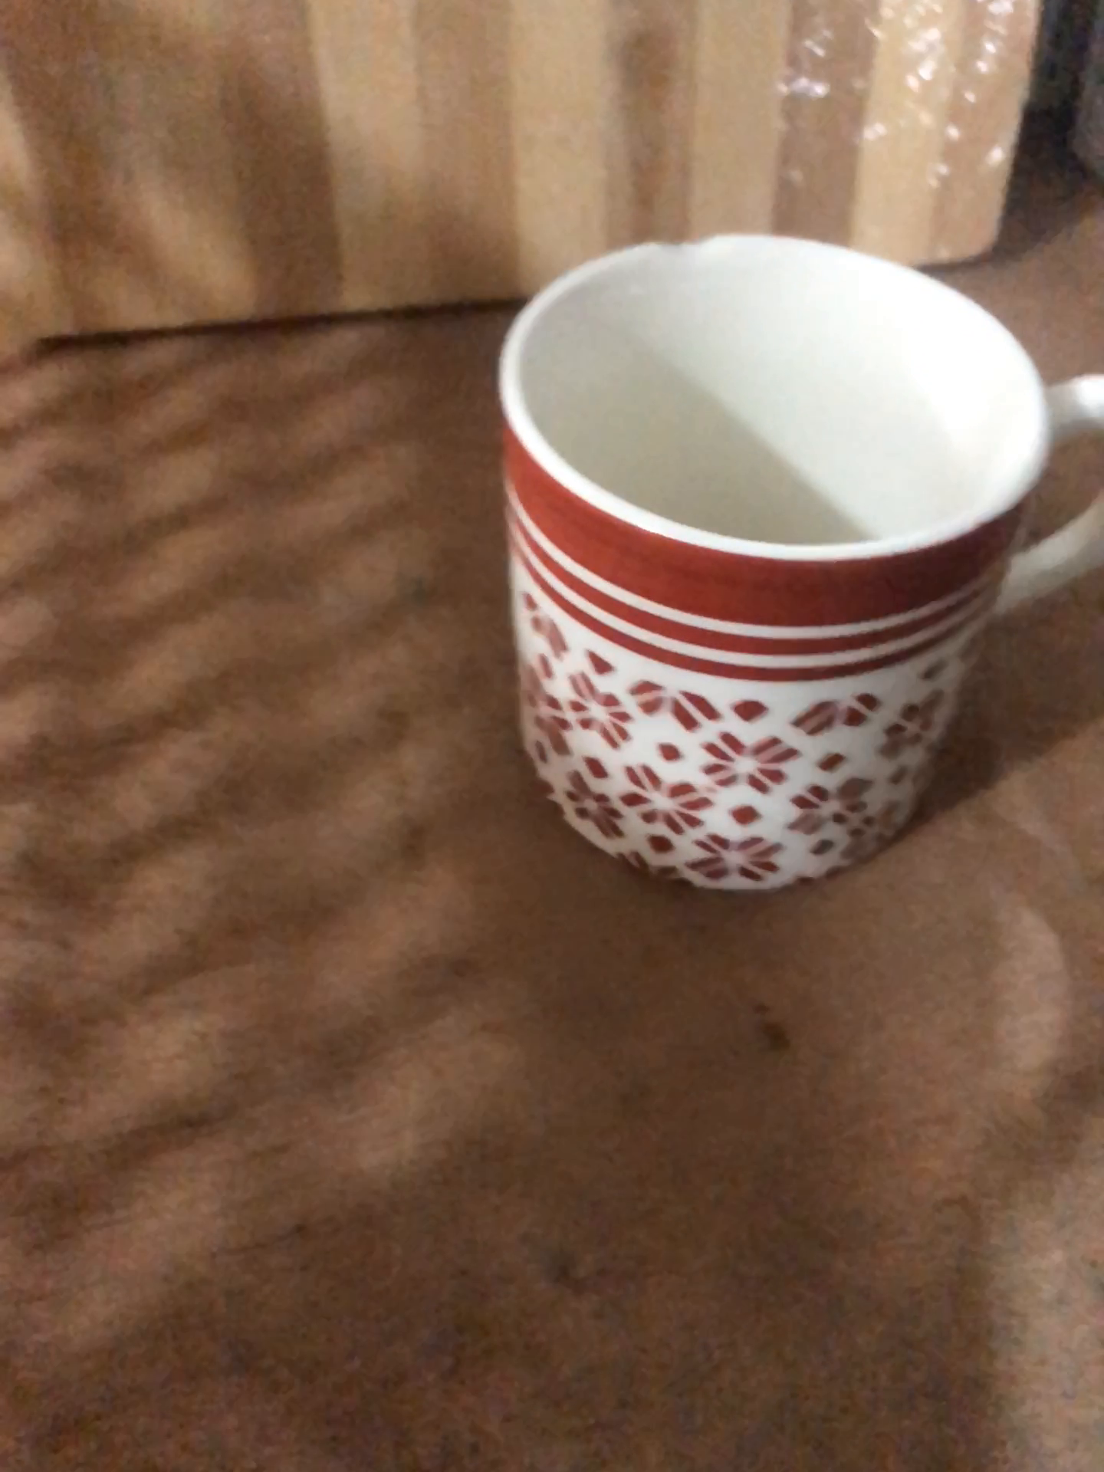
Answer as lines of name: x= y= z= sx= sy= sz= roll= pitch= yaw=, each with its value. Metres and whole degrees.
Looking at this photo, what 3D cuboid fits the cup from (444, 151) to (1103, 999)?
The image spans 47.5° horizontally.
cup: x=0.039 y=-0.021 z=0.175 sx=0.090 sy=0.080 sz=0.060 roll=-15 pitch=53 yaw=-11
